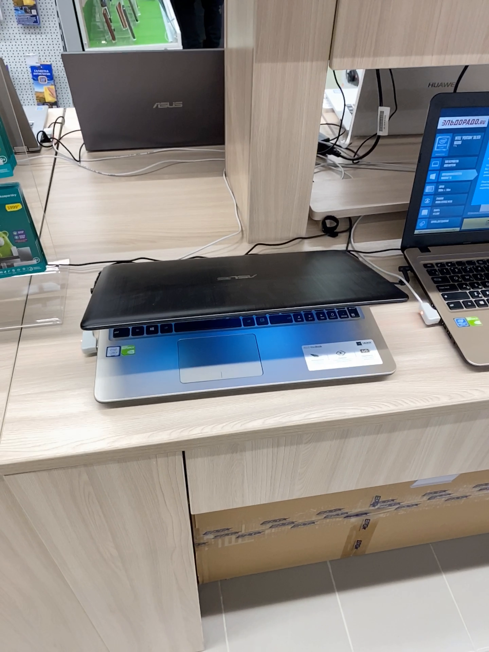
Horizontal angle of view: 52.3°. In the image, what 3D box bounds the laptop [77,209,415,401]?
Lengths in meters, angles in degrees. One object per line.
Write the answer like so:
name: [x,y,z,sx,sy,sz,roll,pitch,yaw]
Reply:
laptop: [-0.008,-0.043,0.672,0.382,0.094,0.241,-4,46,-7]
